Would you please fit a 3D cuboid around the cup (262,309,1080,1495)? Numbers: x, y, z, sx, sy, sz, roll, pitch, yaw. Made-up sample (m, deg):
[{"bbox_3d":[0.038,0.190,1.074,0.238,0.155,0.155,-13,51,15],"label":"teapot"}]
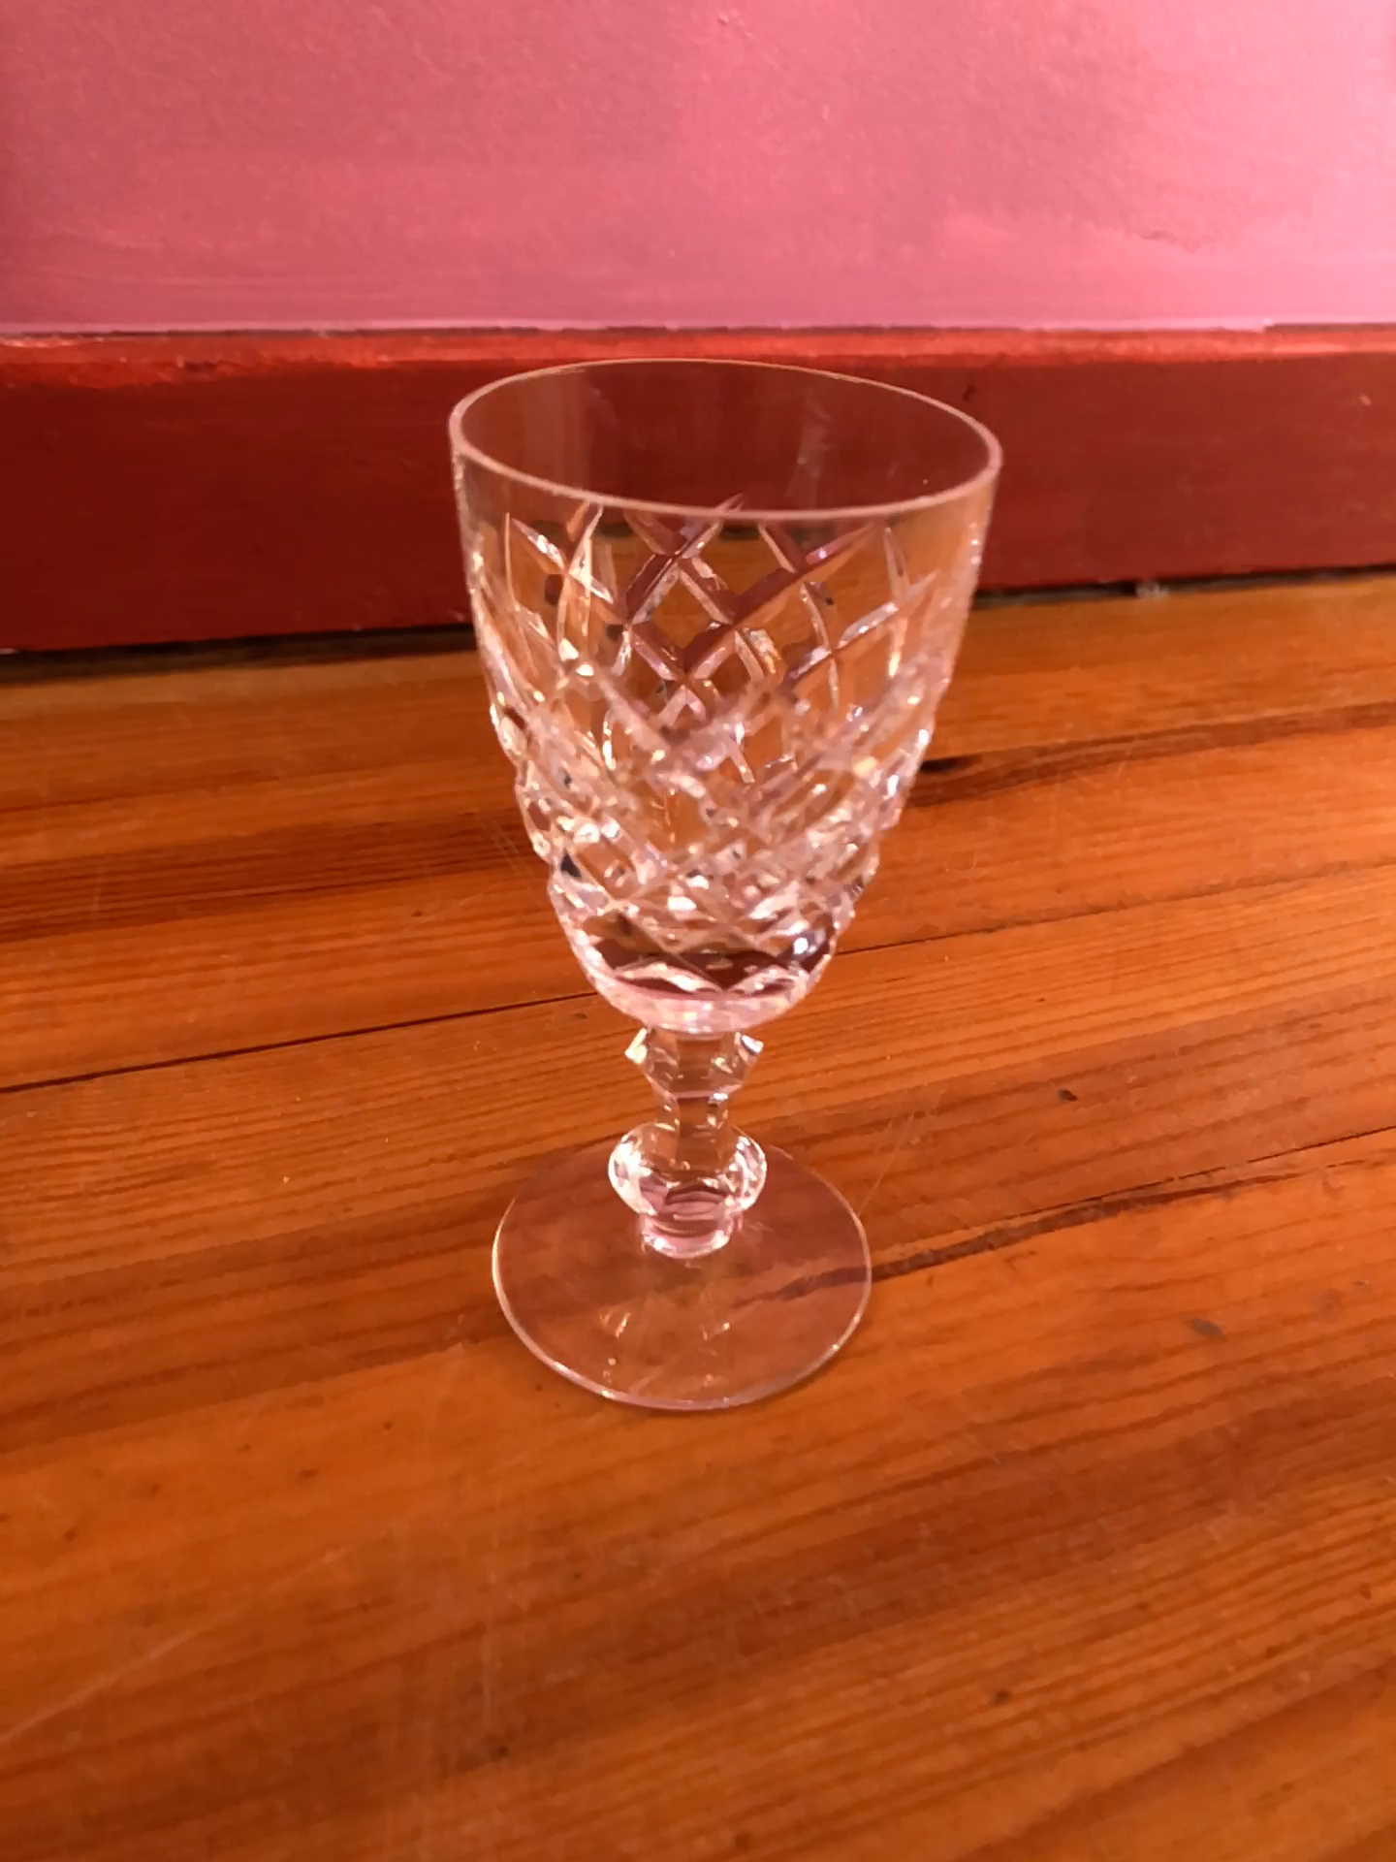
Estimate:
[{"bbox_3d":[-0.003,-0.005,0.182,0.059,0.113,0.057,2,32,-1],"label":"cup"}]
